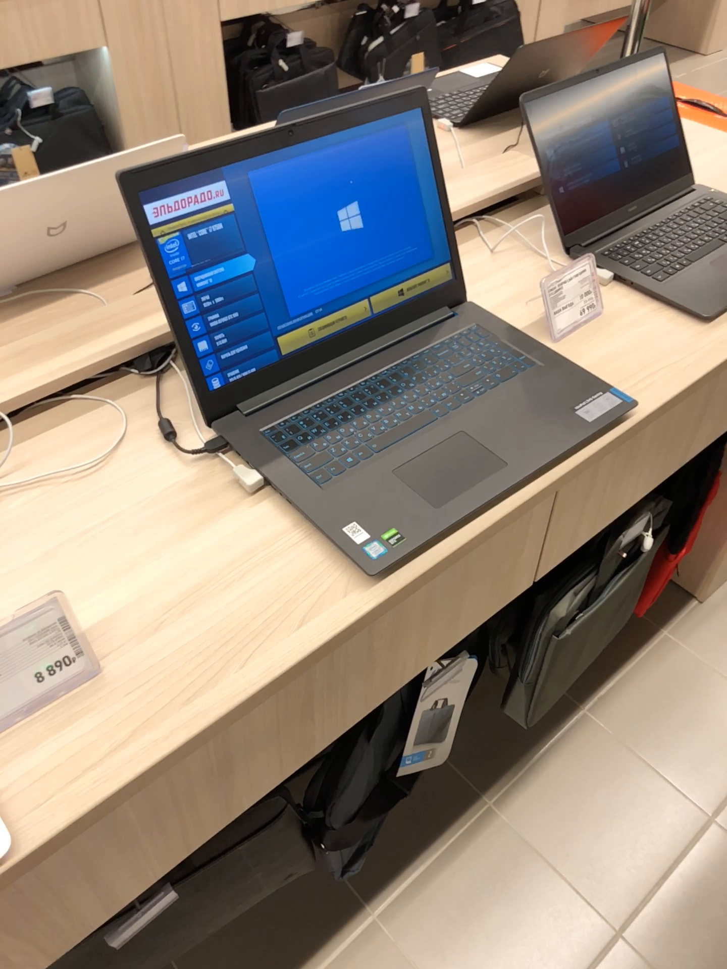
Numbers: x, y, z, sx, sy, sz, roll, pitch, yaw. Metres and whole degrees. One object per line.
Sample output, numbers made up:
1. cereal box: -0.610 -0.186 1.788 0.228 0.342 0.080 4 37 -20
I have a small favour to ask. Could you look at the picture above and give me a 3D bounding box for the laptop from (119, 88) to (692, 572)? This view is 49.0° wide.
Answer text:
1. laptop: 0.035 -0.198 0.845 0.396 0.242 0.381 -30 52 -28
